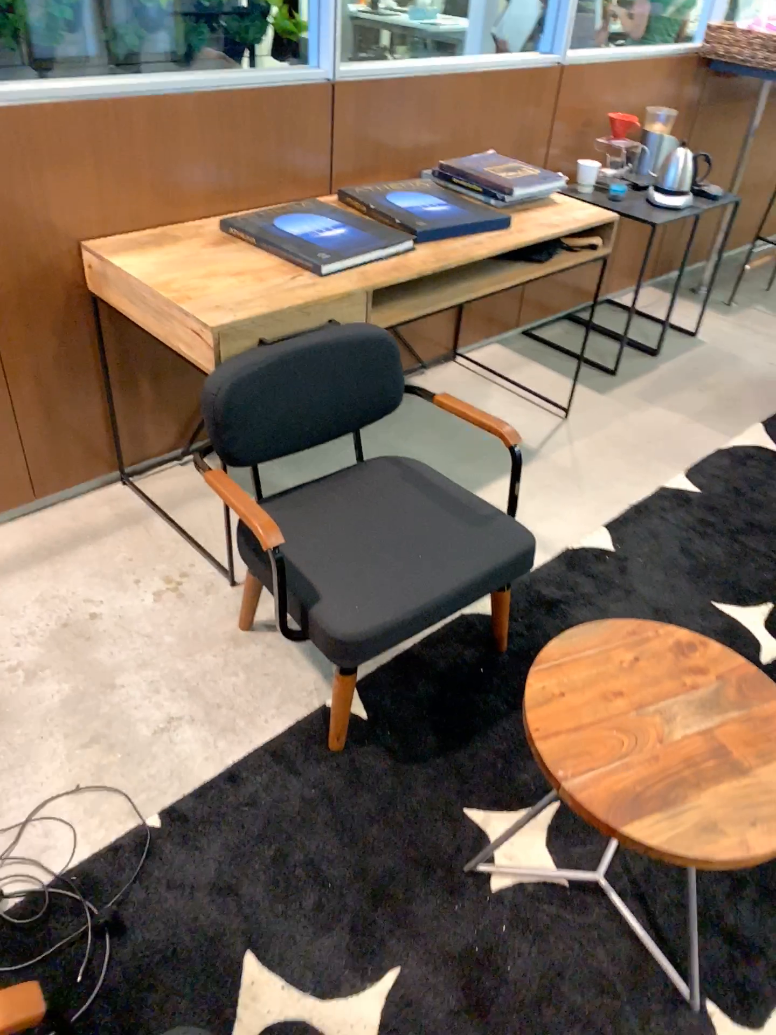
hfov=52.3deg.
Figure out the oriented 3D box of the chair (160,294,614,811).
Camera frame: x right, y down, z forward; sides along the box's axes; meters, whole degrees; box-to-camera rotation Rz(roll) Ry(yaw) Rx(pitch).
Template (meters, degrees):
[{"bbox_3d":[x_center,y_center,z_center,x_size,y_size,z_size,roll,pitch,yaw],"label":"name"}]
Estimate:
[{"bbox_3d":[-0.025,0.047,1.943,0.751,0.875,0.613,-24,45,-32],"label":"chair"}]
